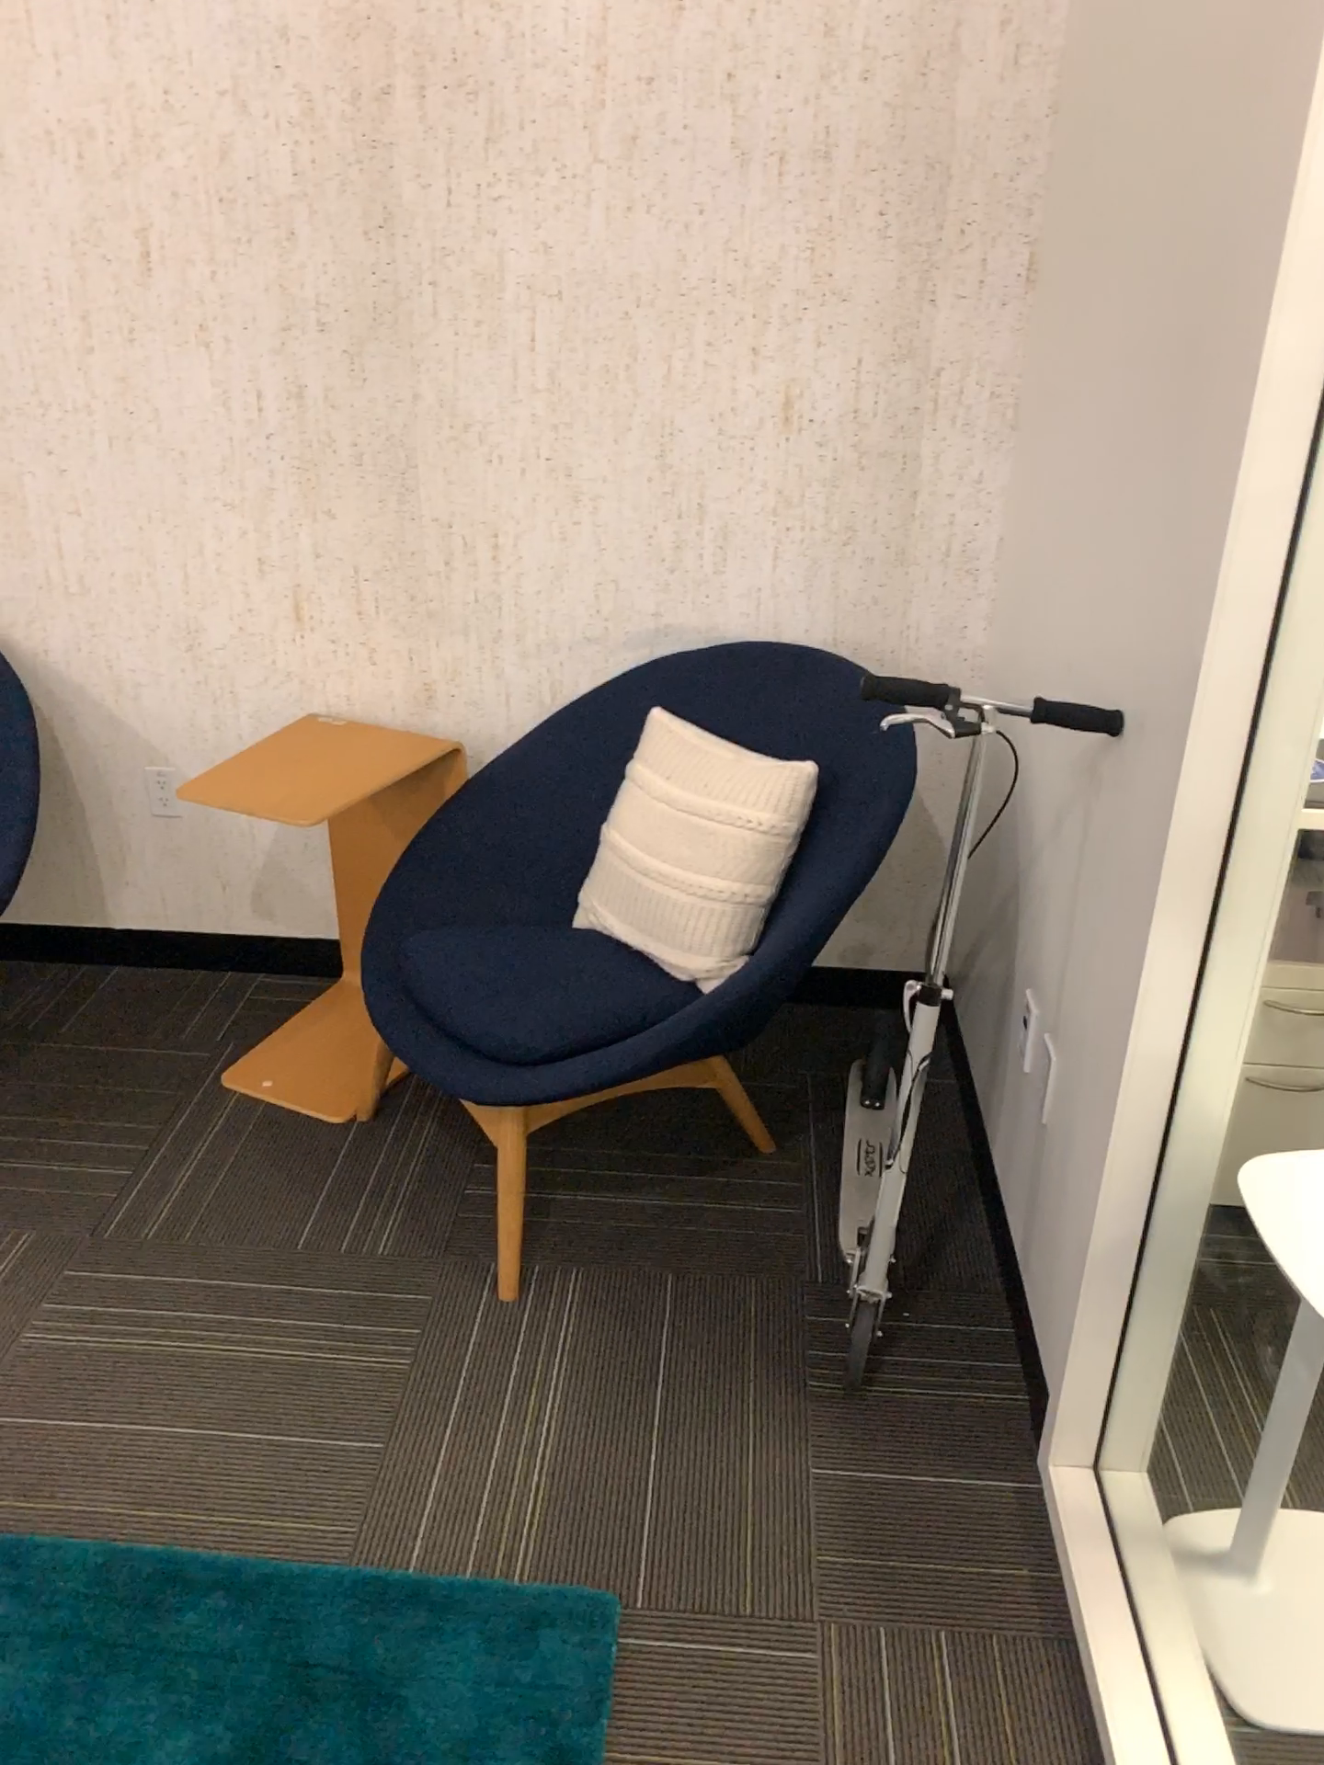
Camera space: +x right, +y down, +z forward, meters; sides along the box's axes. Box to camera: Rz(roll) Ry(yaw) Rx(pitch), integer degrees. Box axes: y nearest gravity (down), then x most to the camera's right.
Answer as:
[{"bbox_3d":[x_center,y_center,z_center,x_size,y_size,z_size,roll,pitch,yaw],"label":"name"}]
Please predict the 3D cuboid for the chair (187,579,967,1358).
[{"bbox_3d":[-0.169,0.032,2.276,0.881,0.816,0.894,-16,30,-32],"label":"chair"}]
